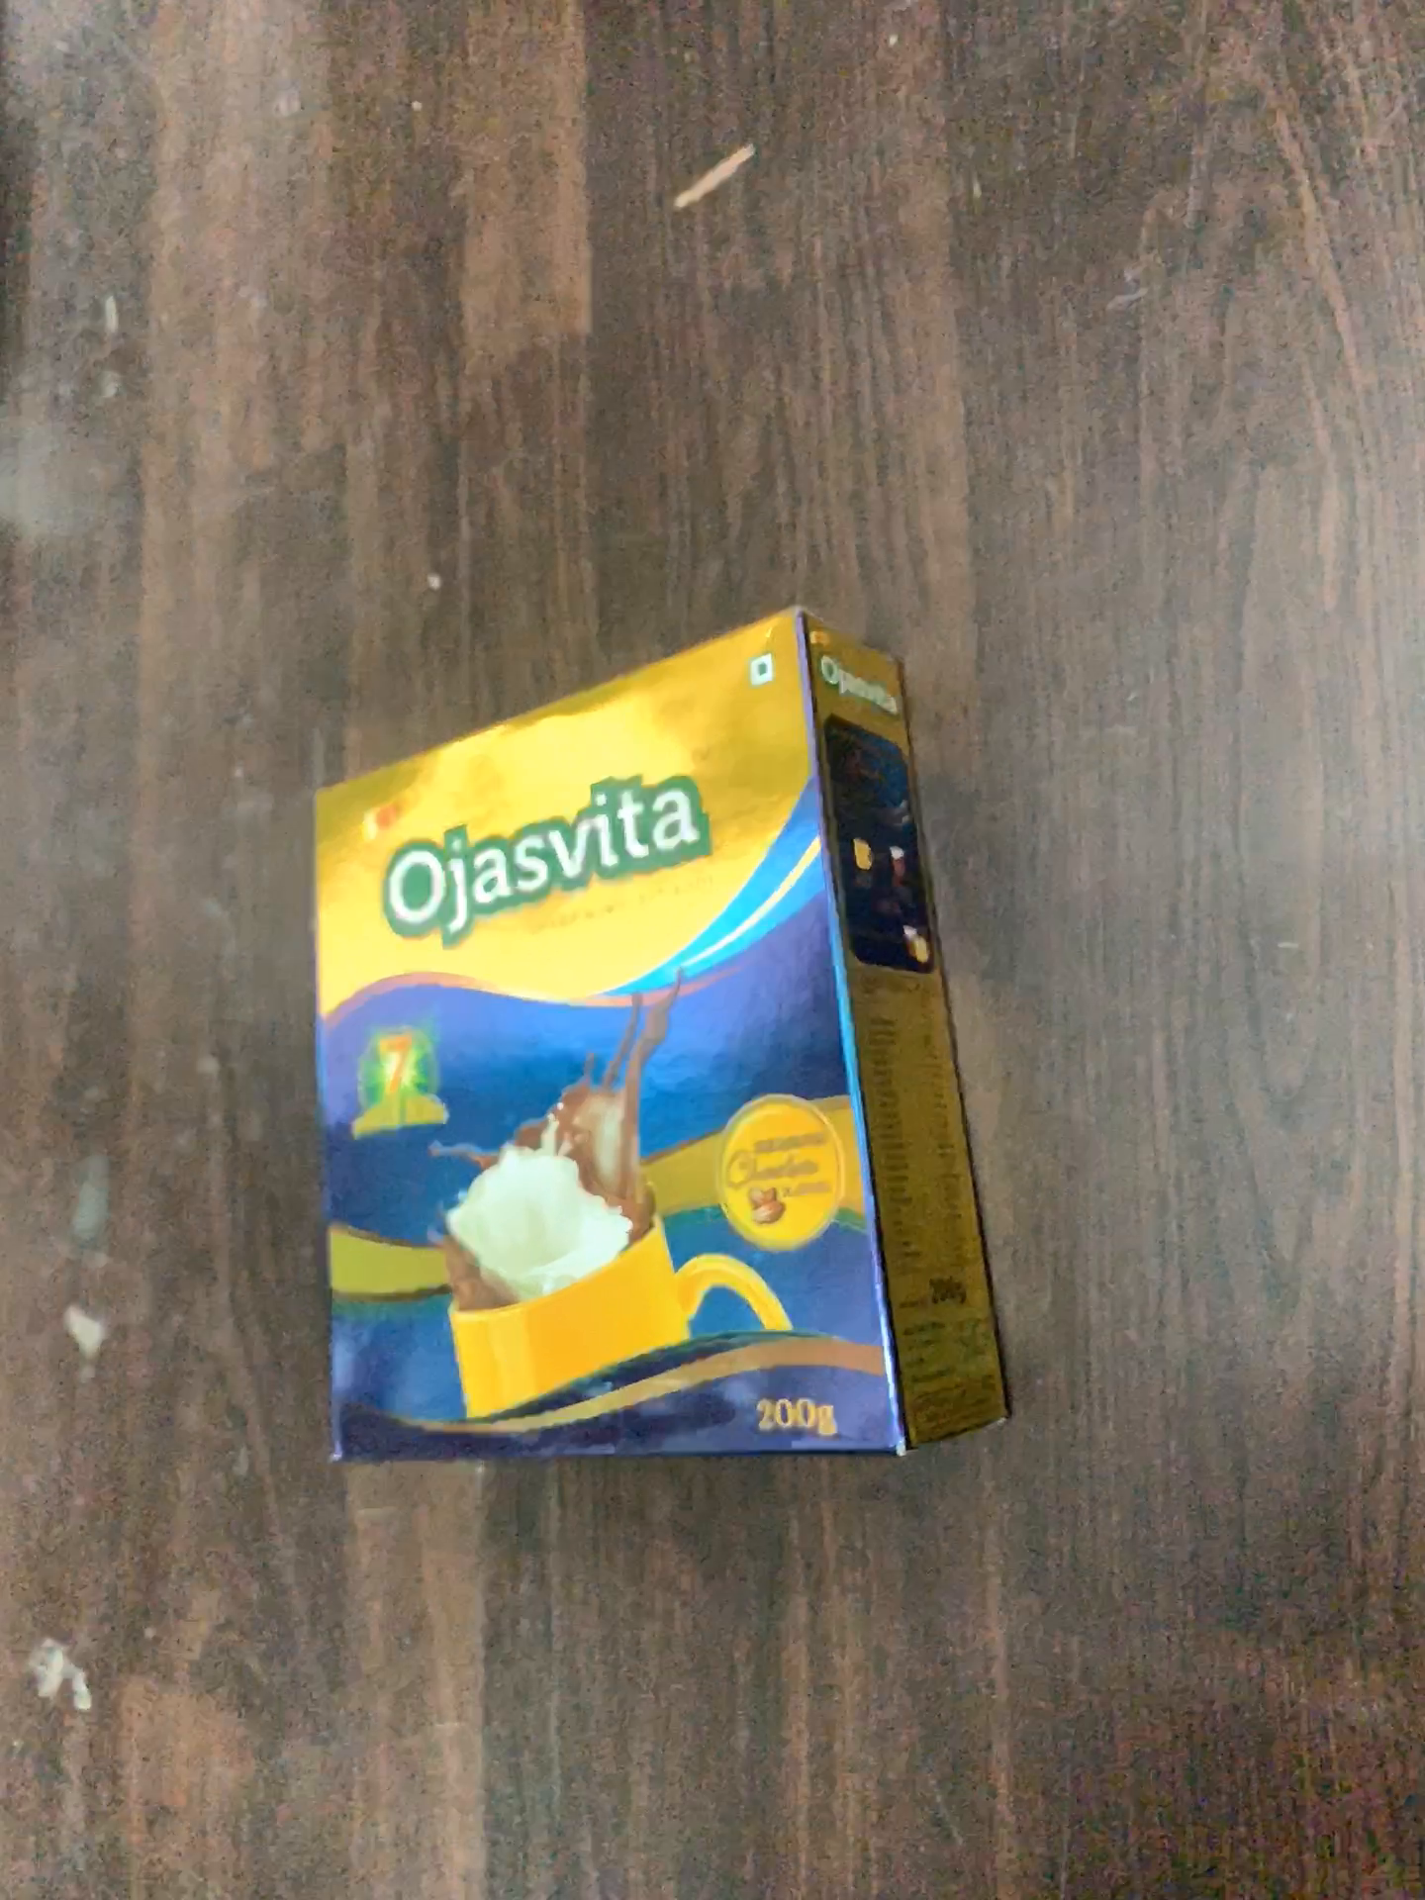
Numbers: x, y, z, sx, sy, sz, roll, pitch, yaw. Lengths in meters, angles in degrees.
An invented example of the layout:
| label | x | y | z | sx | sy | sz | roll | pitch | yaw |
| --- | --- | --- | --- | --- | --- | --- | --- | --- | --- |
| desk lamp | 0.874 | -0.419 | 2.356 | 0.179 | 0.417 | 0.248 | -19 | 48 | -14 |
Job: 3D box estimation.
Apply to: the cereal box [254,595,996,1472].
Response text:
| label | x | y | z | sx | sy | sz | roll | pitch | yaw |
| --- | --- | --- | --- | --- | --- | --- | --- | --- | --- |
| cereal box | -0.029 | 0.026 | 0.311 | 0.151 | 0.040 | 0.150 | -14 | 74 | 33 |
